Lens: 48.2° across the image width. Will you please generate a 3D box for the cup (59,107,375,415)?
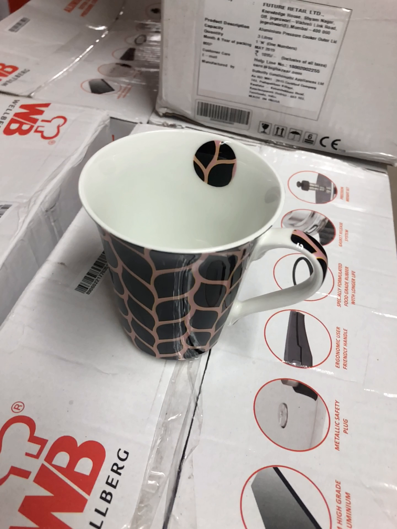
[{"bbox_3d":[0.008,-0.002,0.209,0.110,0.089,0.080,15,46,4],"label":"cup"}]
